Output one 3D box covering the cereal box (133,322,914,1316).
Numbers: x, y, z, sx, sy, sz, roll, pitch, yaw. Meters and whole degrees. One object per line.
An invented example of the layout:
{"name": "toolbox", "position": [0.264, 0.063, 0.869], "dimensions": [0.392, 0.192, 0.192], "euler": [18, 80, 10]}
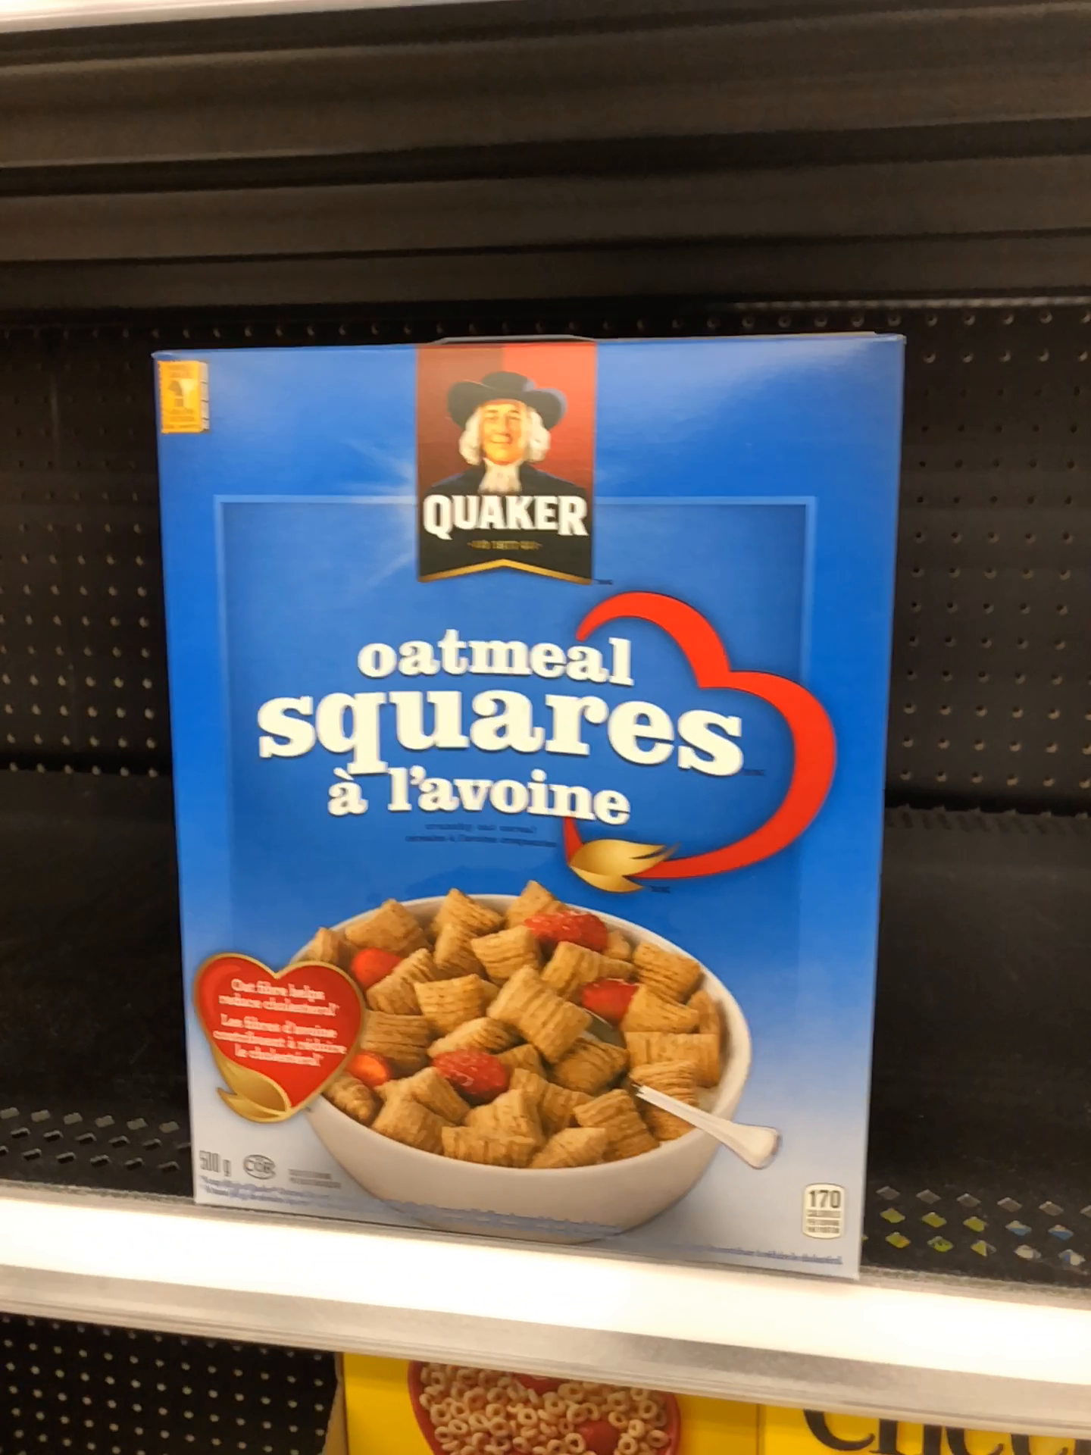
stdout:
{"name": "cereal box", "position": [-0.007, 0.025, 0.375], "dimensions": [0.210, 0.279, 0.060], "euler": [2, 11, 9]}
